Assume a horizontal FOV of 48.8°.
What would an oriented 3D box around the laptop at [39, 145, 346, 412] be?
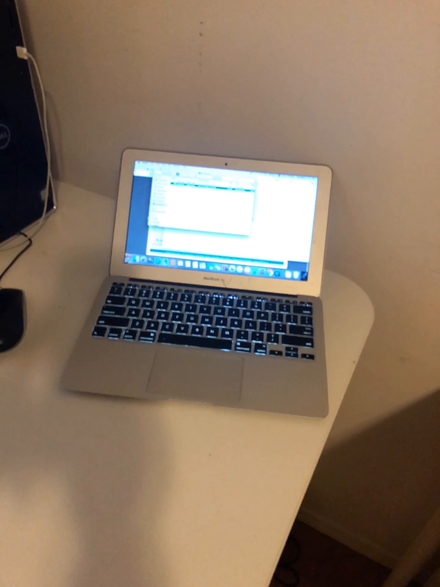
[{"bbox_3d":[-0.013,-0.041,0.590,0.280,0.126,0.307,5,43,4],"label":"laptop"}]
